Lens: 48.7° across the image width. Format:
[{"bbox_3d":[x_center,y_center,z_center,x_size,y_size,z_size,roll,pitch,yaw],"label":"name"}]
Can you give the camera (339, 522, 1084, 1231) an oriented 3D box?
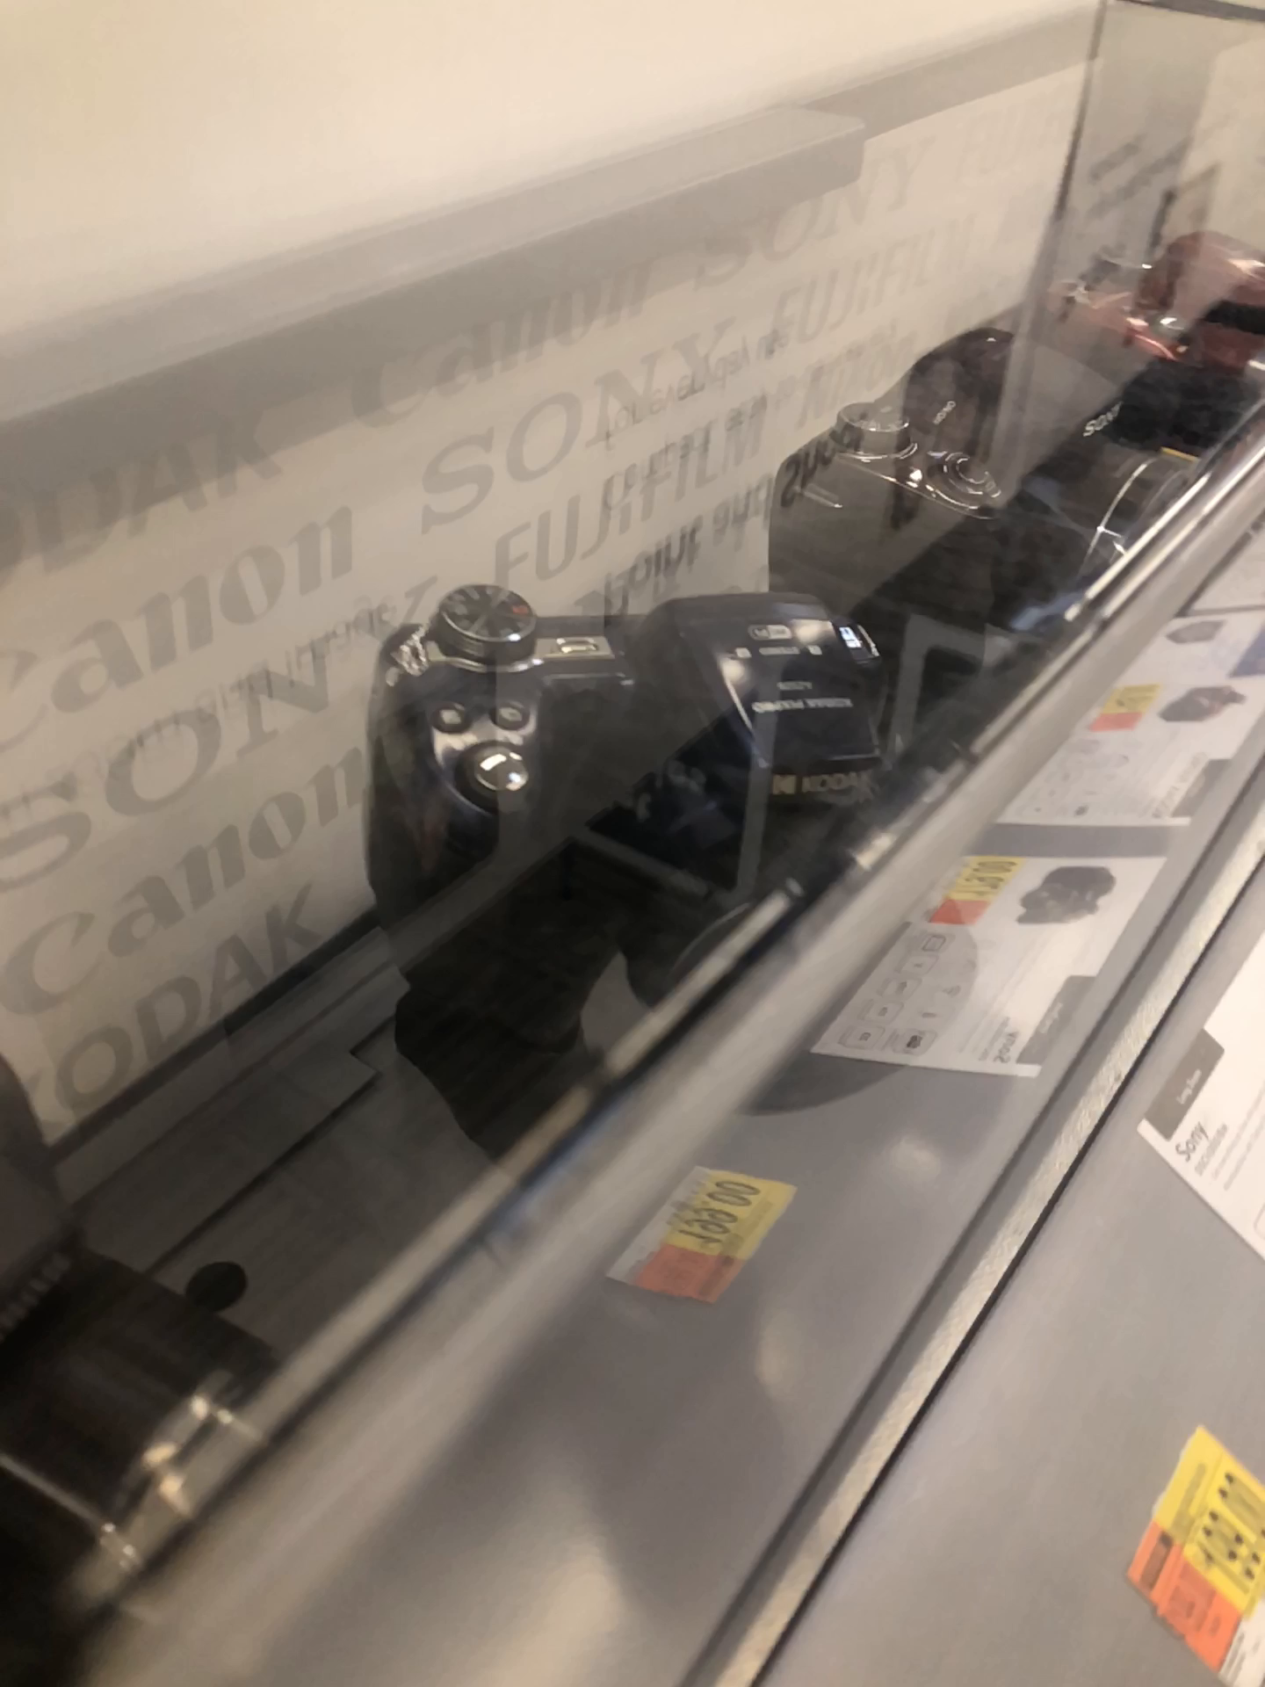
[{"bbox_3d":[0.008,0.000,0.314,0.120,0.090,0.110,-10,41,-17],"label":"camera"}]
